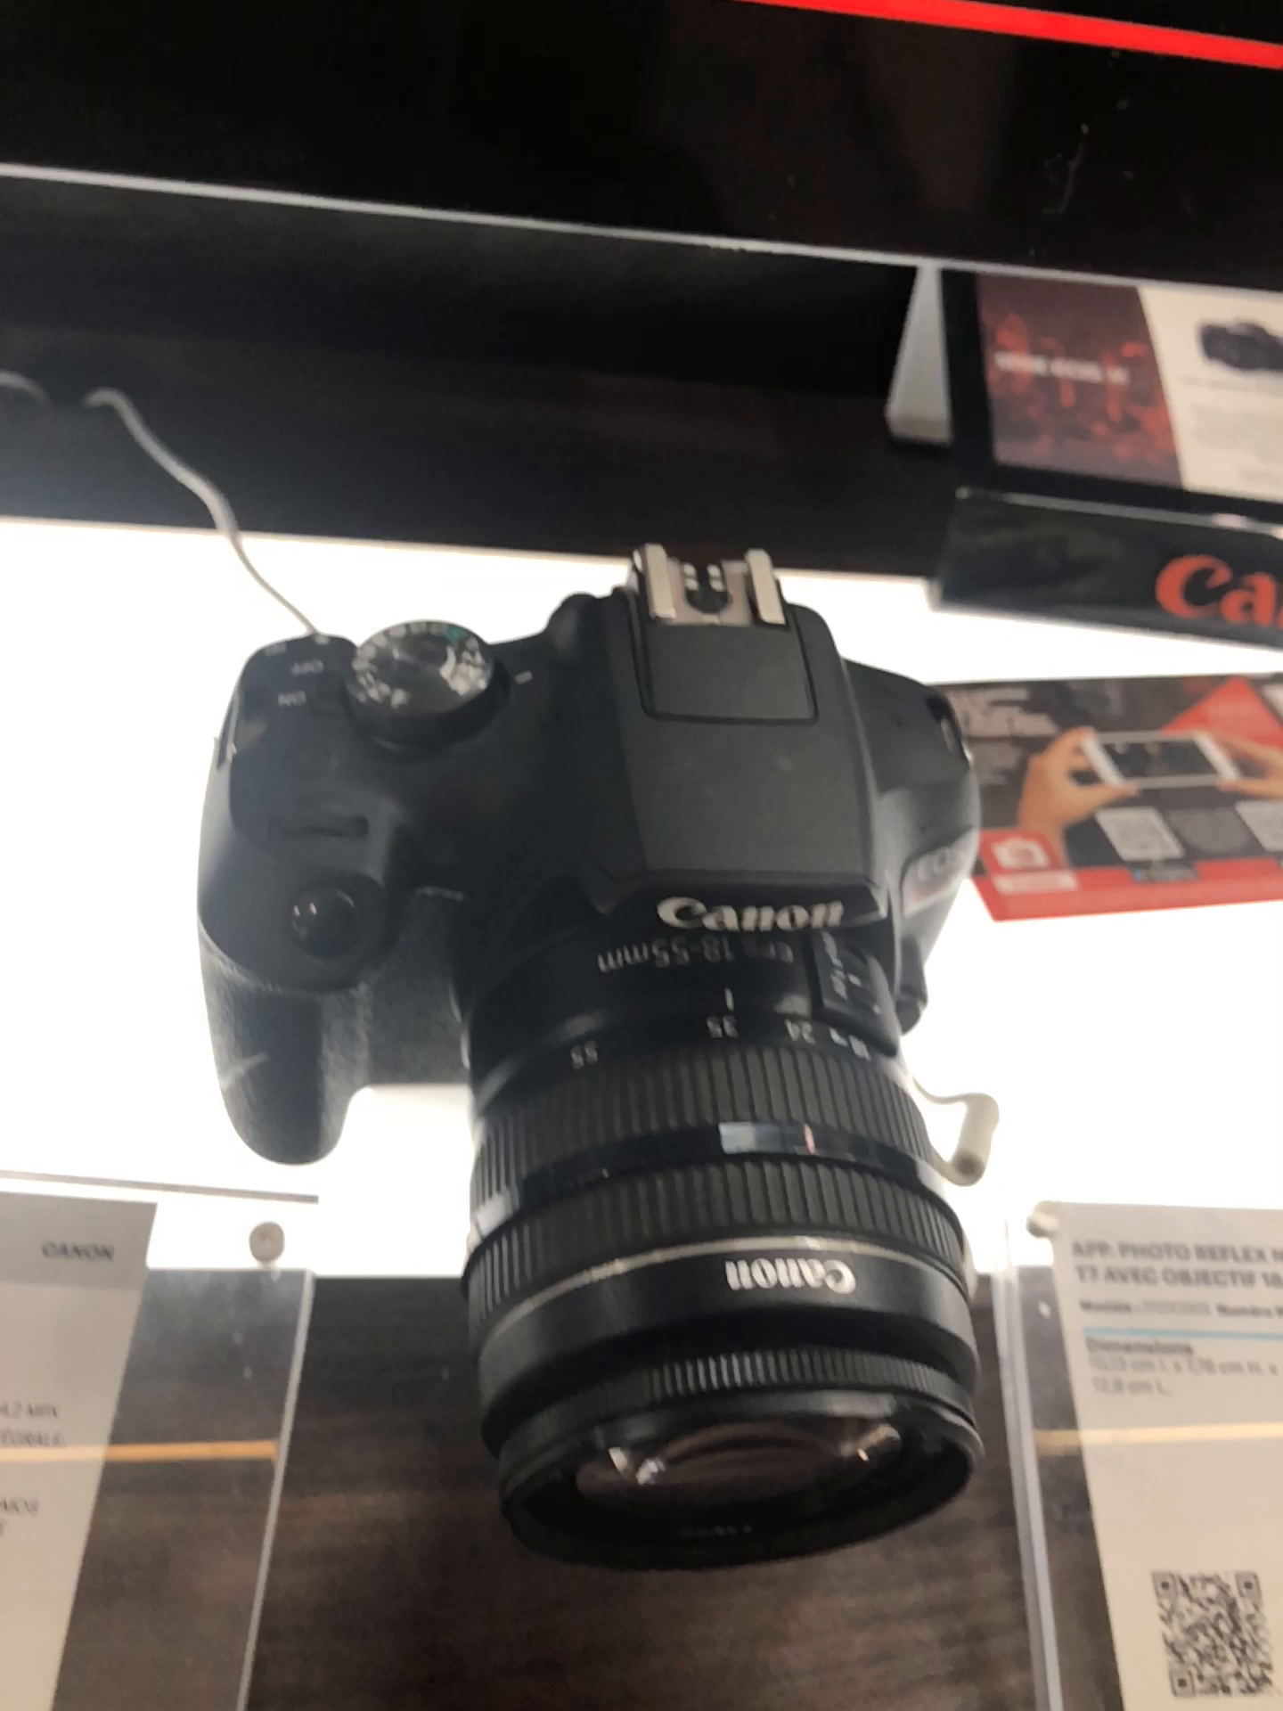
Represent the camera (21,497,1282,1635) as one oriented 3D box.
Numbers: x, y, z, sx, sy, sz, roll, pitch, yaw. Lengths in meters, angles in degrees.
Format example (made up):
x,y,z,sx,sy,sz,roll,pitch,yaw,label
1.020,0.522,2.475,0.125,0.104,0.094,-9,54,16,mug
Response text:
x,y,z,sx,sy,sz,roll,pitch,yaw,label
0.001,0.026,0.202,0.128,0.099,0.112,1,43,-9,camera
